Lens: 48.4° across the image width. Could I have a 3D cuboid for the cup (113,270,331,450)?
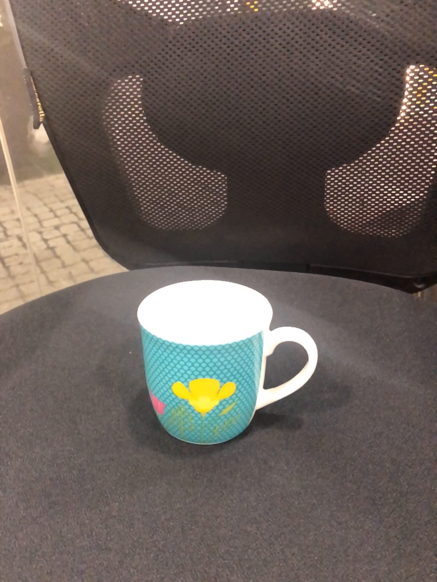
[{"bbox_3d":[0.002,0.040,0.296,0.110,0.080,0.070,-1,31,-1],"label":"cup"}]
